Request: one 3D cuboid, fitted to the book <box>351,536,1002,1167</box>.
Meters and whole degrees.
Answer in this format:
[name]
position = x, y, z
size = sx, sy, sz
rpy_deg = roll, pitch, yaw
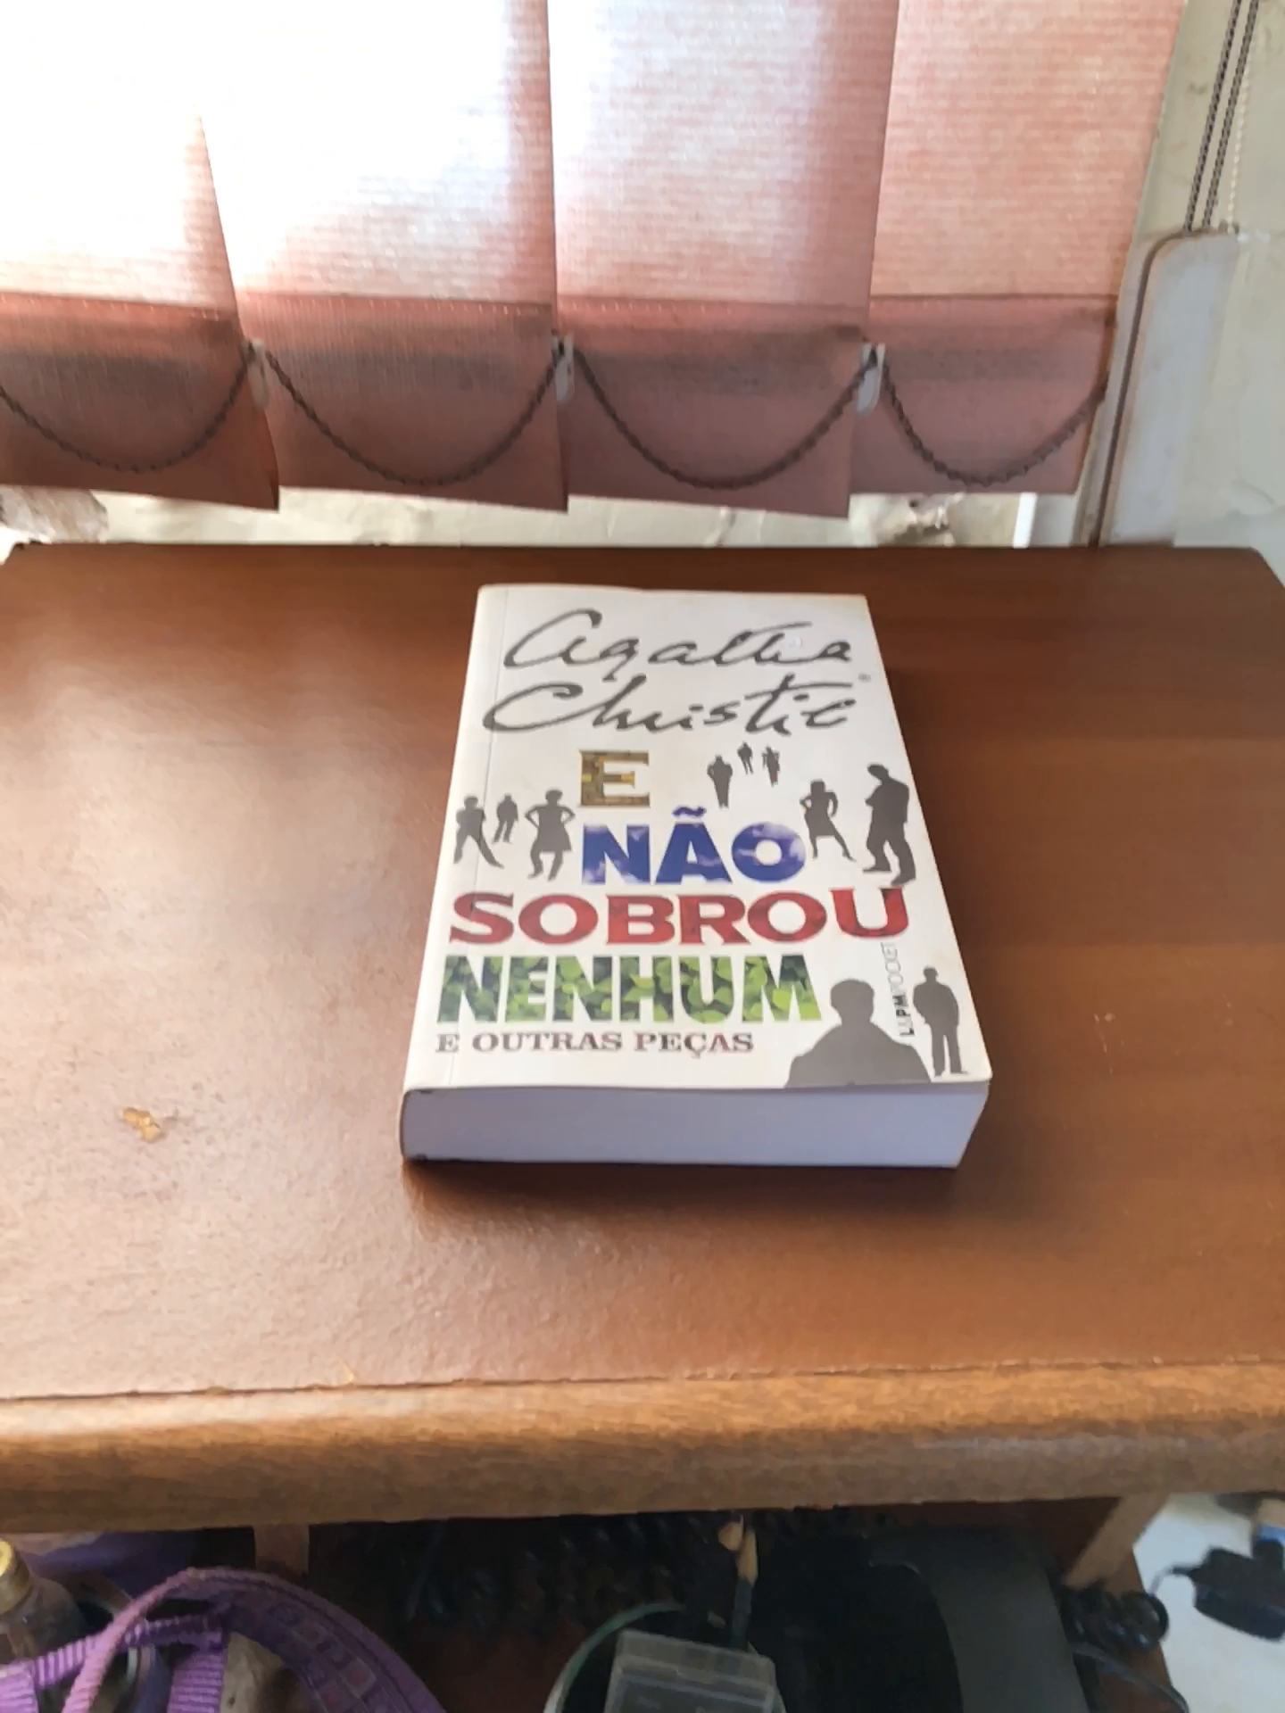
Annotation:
[book]
position = 0.007, -0.015, 0.319
size = 0.110, 0.024, 0.187
rpy_deg = 1, 41, 0
